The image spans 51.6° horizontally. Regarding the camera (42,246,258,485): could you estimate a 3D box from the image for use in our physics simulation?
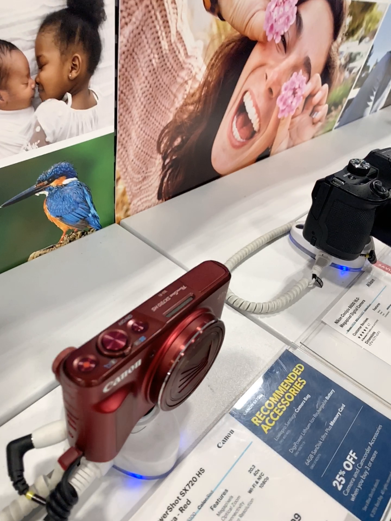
[{"bbox_3d":[-0.018,0.046,0.210,0.037,0.060,0.110,30,41,25],"label":"camera"}]
